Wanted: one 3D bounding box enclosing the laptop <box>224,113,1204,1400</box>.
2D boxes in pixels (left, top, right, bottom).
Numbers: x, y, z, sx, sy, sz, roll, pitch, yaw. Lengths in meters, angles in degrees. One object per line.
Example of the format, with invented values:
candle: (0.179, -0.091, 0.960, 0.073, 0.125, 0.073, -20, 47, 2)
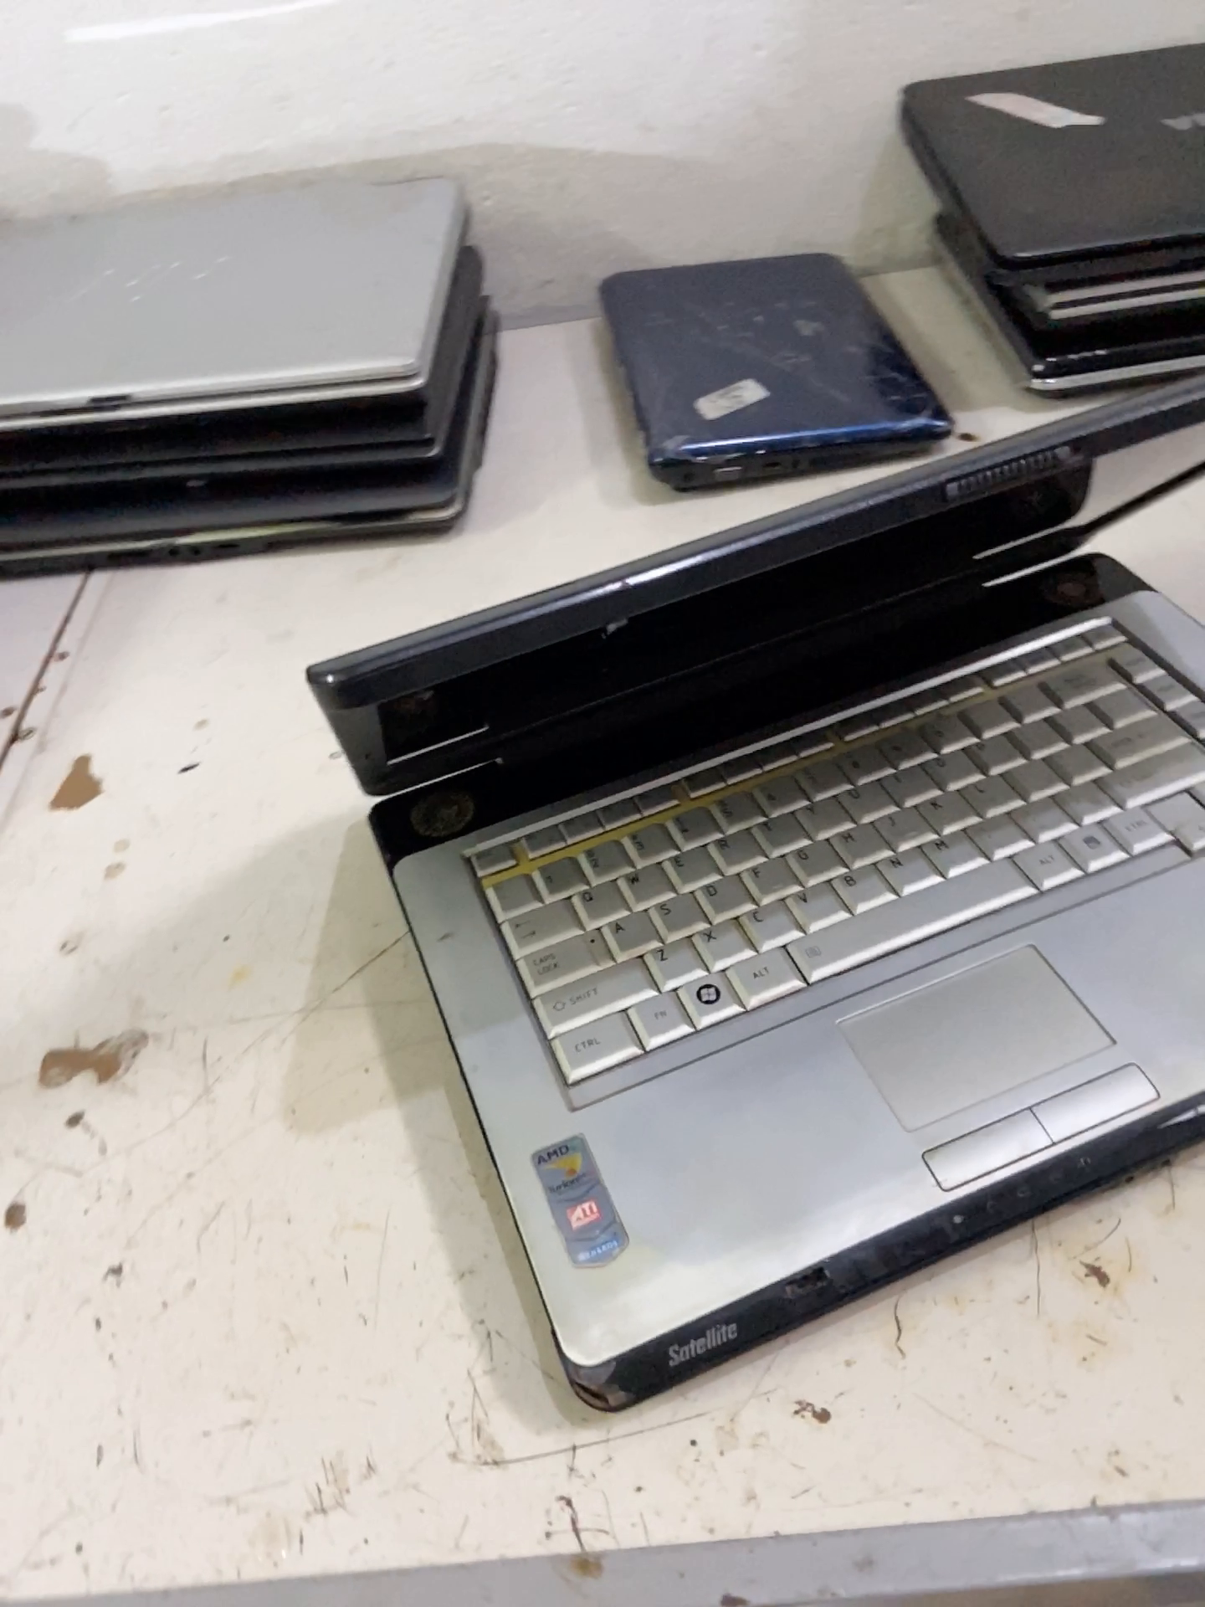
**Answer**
laptop: (0.103, -0.043, 0.398, 0.356, 0.185, 0.258, -20, 46, -10)
